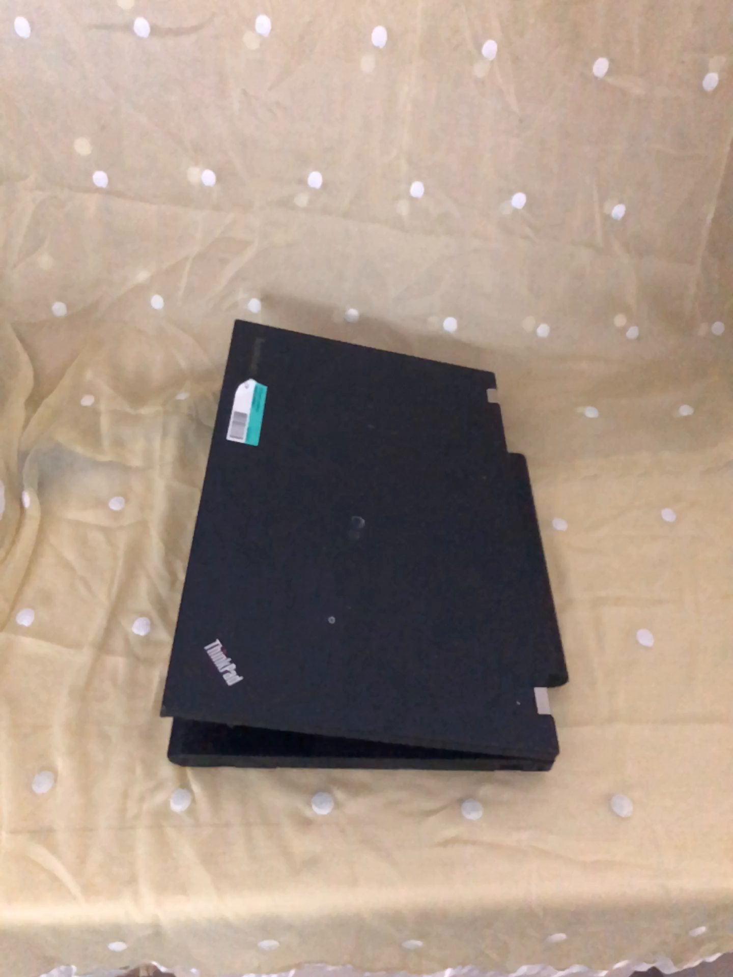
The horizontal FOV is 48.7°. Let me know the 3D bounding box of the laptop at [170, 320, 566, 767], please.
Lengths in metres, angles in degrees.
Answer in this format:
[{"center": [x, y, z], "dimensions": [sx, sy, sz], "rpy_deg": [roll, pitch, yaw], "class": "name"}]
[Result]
[{"center": [0.000, 0.011, 0.597], "dimensions": [0.225, 0.050, 0.358], "rpy_deg": [2, 48, 1], "class": "laptop"}]
